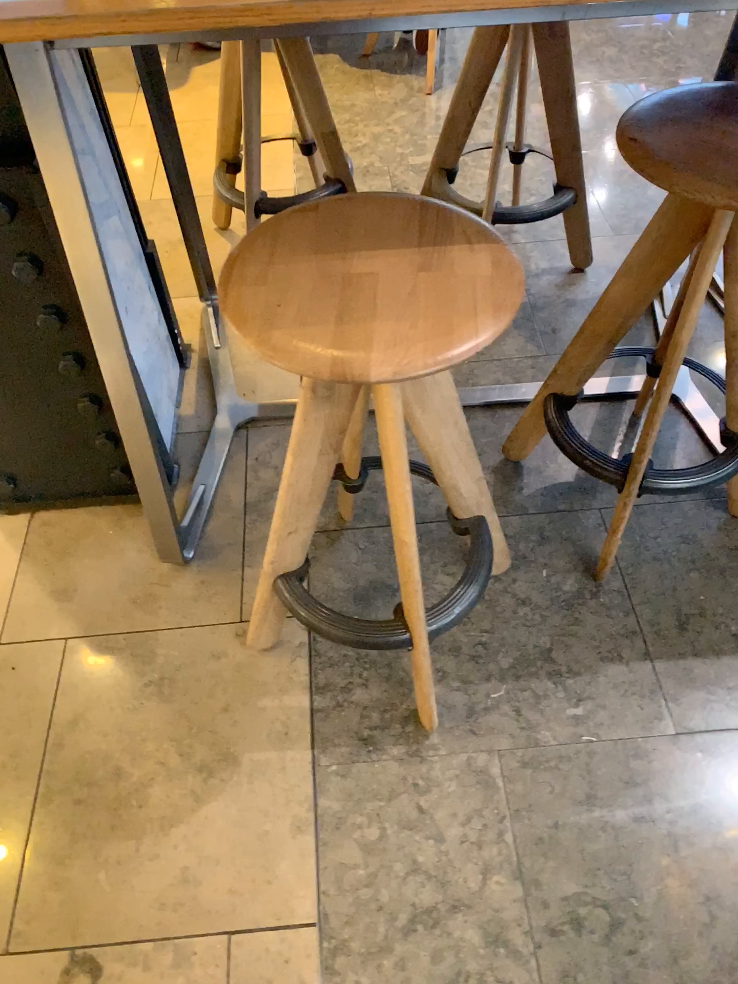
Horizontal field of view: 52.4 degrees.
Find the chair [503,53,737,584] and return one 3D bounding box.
[{"bbox_3d":[0.527,-0.236,1.234,0.463,0.706,0.426,-5,52,-1],"label":"chair"}]

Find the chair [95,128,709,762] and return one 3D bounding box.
[{"bbox_3d":[0.022,-0.028,1.099,0.533,0.706,0.557,-5,52,-1],"label":"chair"}]
